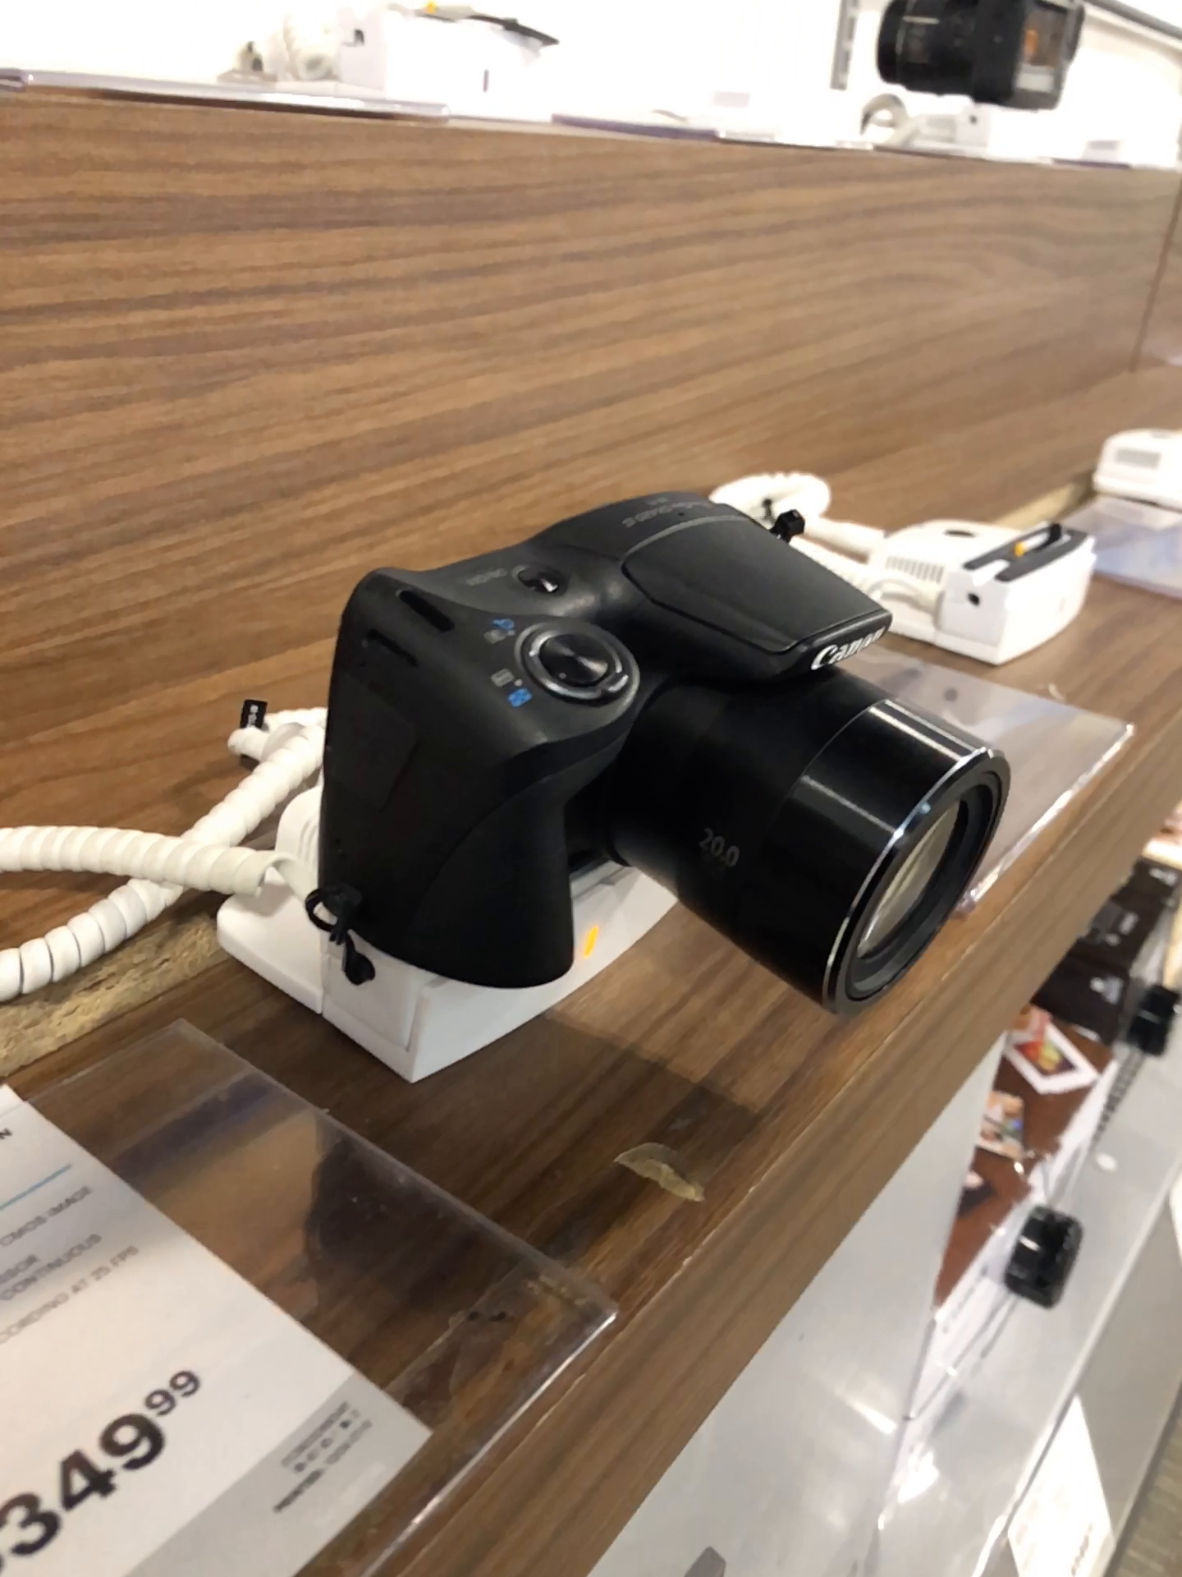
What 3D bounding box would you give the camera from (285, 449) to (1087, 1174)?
[{"bbox_3d":[0.017,-0.008,0.227,0.090,0.070,0.100,23,31,31],"label":"camera"}]
